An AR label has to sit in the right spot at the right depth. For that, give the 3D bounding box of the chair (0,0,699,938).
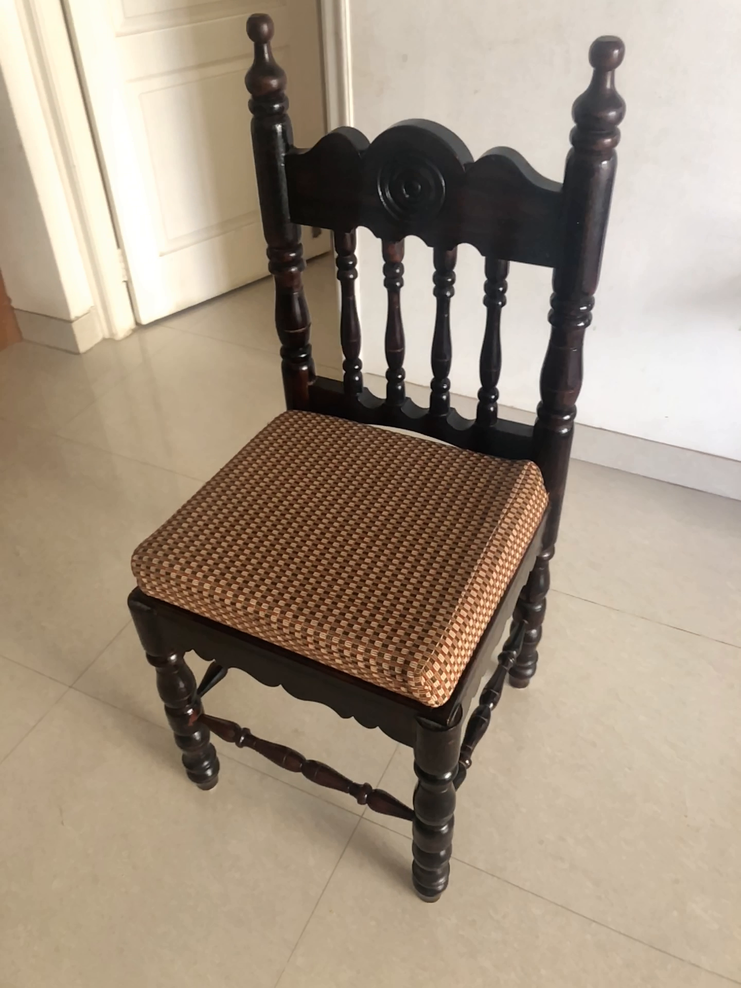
[{"bbox_3d":[0.010,-0.014,1.084,0.501,1.022,0.563,17,43,22],"label":"chair"}]
